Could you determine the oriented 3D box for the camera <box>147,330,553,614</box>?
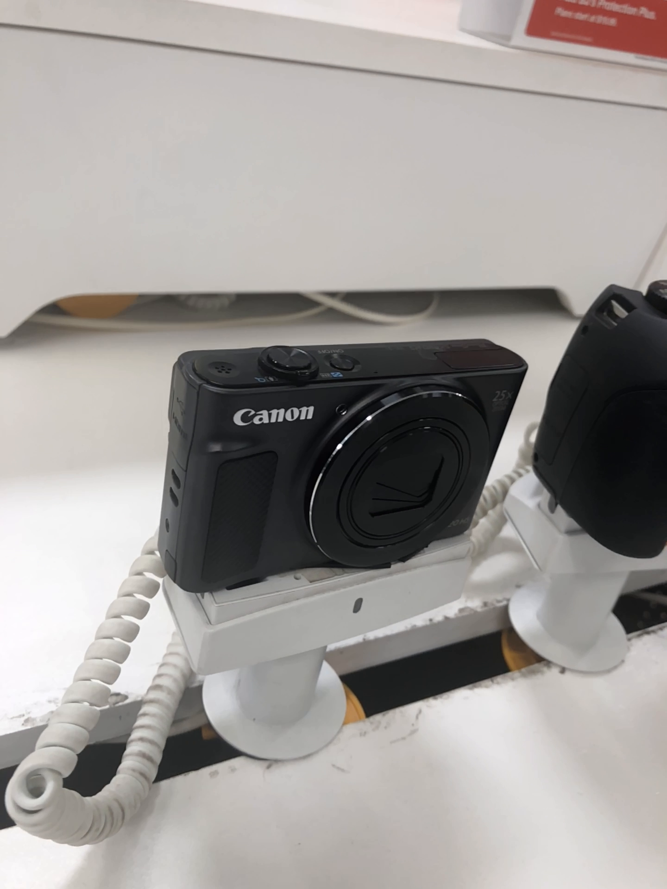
[{"bbox_3d":[0.004,0.004,0.192,0.093,0.057,0.025,-7,39,-30],"label":"camera"}]
